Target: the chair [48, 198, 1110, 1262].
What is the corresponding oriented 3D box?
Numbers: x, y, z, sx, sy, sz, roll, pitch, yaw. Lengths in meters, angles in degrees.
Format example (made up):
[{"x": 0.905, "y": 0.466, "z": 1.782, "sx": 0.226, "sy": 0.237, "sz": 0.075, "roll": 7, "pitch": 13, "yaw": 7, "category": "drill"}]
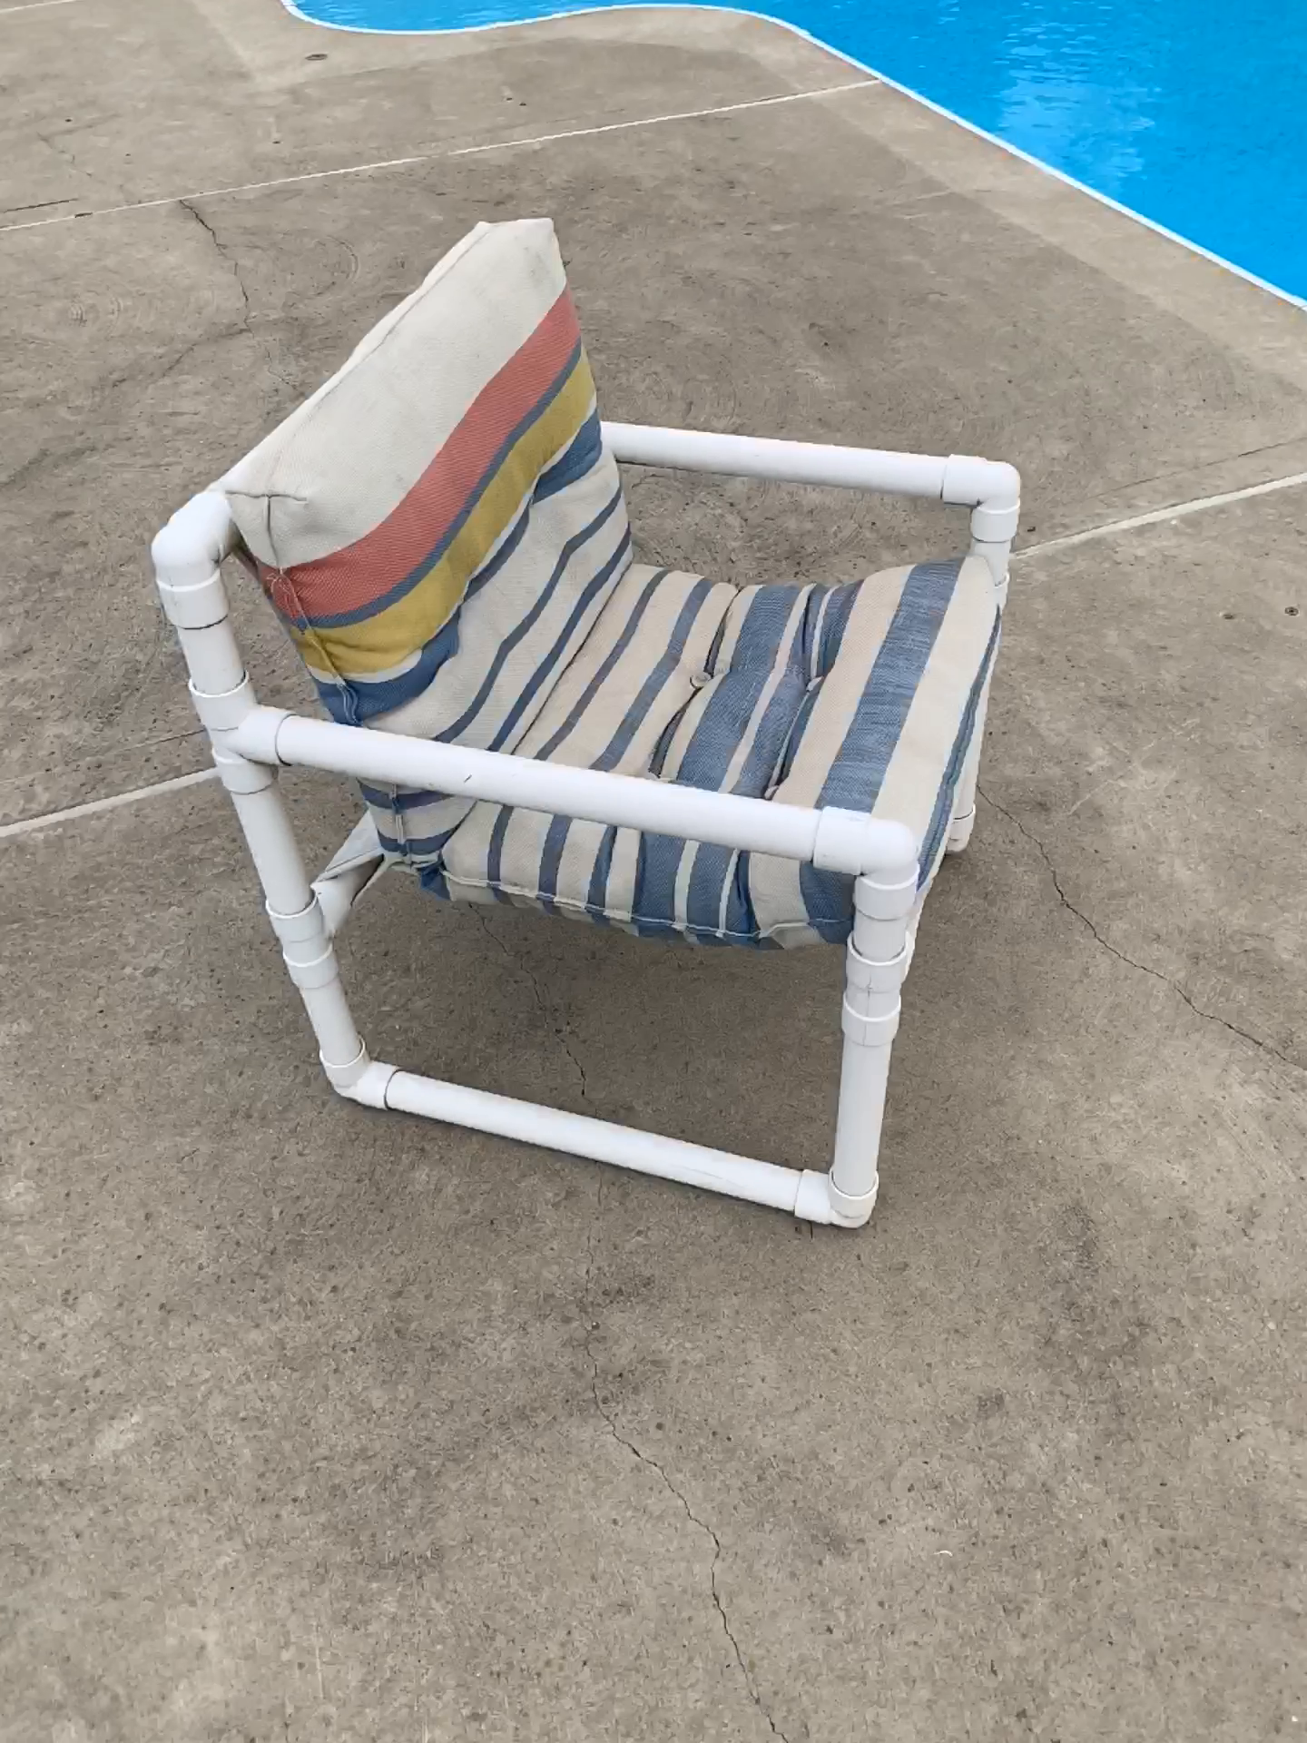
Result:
[{"x": 0.001, "y": -0.164, "z": 1.320, "sx": 0.671, "sy": 0.686, "sz": 0.653, "roll": 13, "pitch": 47, "yaw": 15, "category": "chair"}]
